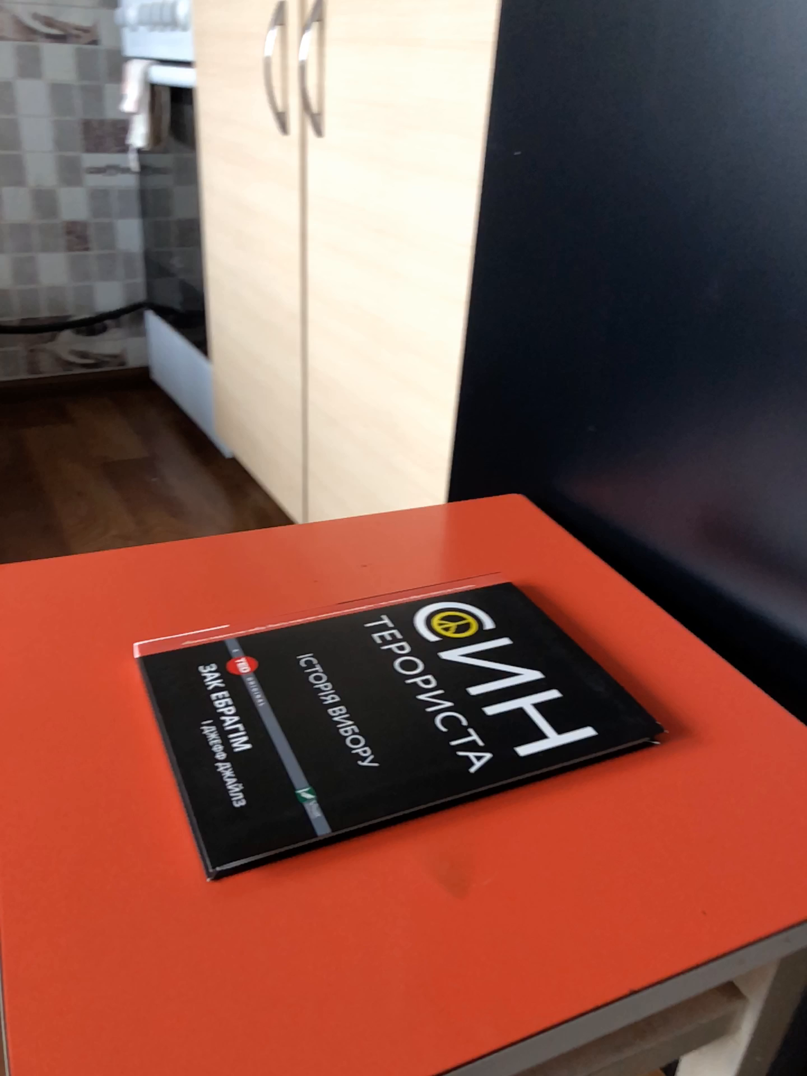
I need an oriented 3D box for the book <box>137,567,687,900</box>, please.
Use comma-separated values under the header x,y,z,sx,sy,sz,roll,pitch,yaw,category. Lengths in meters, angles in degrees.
x,y,z,sx,sy,sz,roll,pitch,yaw,category
-0.003,0.071,0.404,0.205,0.013,0.150,-9,30,-23,book
